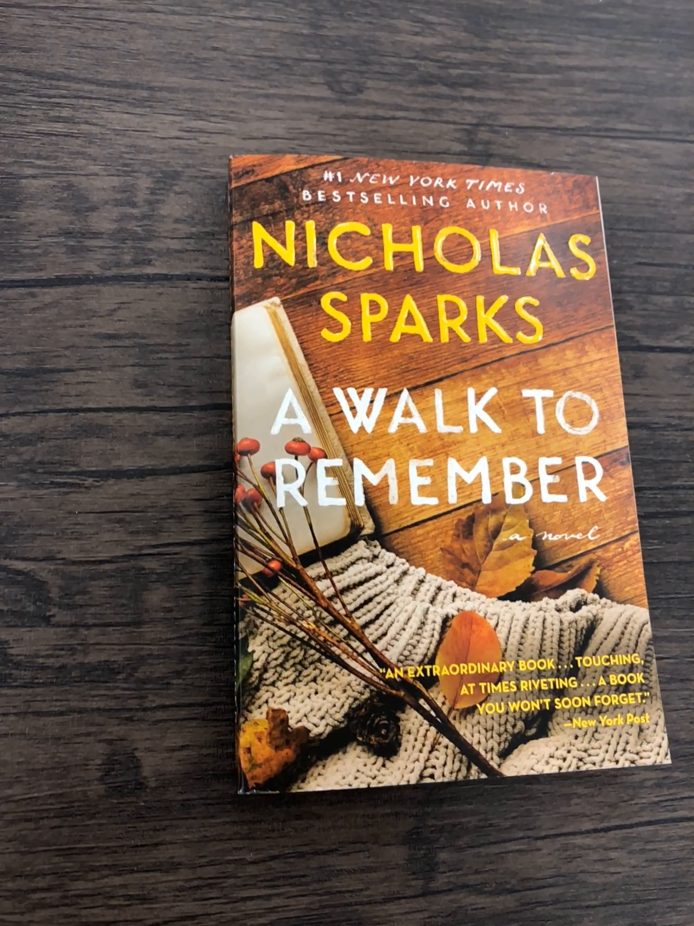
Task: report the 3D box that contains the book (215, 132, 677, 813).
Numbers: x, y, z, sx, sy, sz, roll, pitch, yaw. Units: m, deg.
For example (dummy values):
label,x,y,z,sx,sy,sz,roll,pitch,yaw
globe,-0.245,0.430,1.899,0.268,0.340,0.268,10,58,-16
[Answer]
label,x,y,z,sx,sy,sz,roll,pitch,yaw
book,0.027,-0.004,0.246,0.132,0.020,0.200,-1,79,-10
